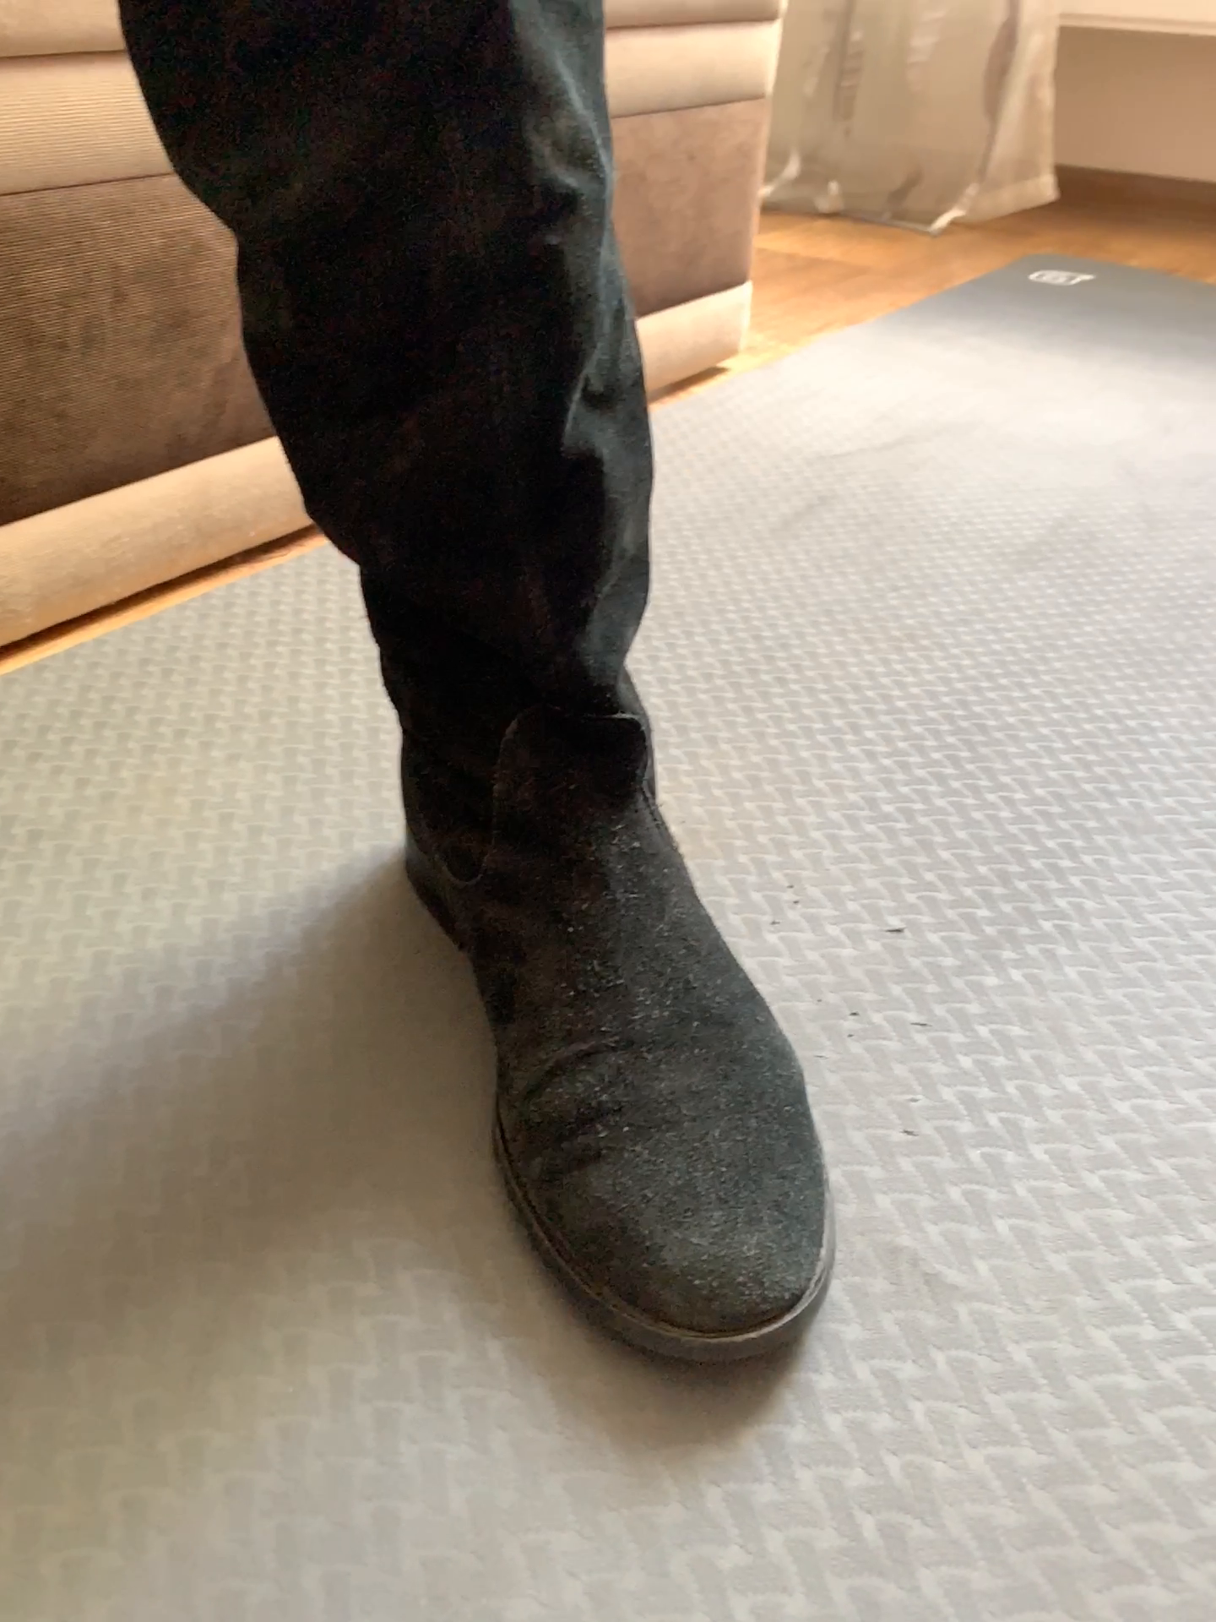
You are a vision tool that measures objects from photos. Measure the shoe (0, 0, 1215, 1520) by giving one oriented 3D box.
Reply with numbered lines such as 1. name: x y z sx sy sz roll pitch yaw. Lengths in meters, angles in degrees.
1. shoe: -0.046 -0.109 0.299 0.130 0.378 0.321 -14 34 -18
